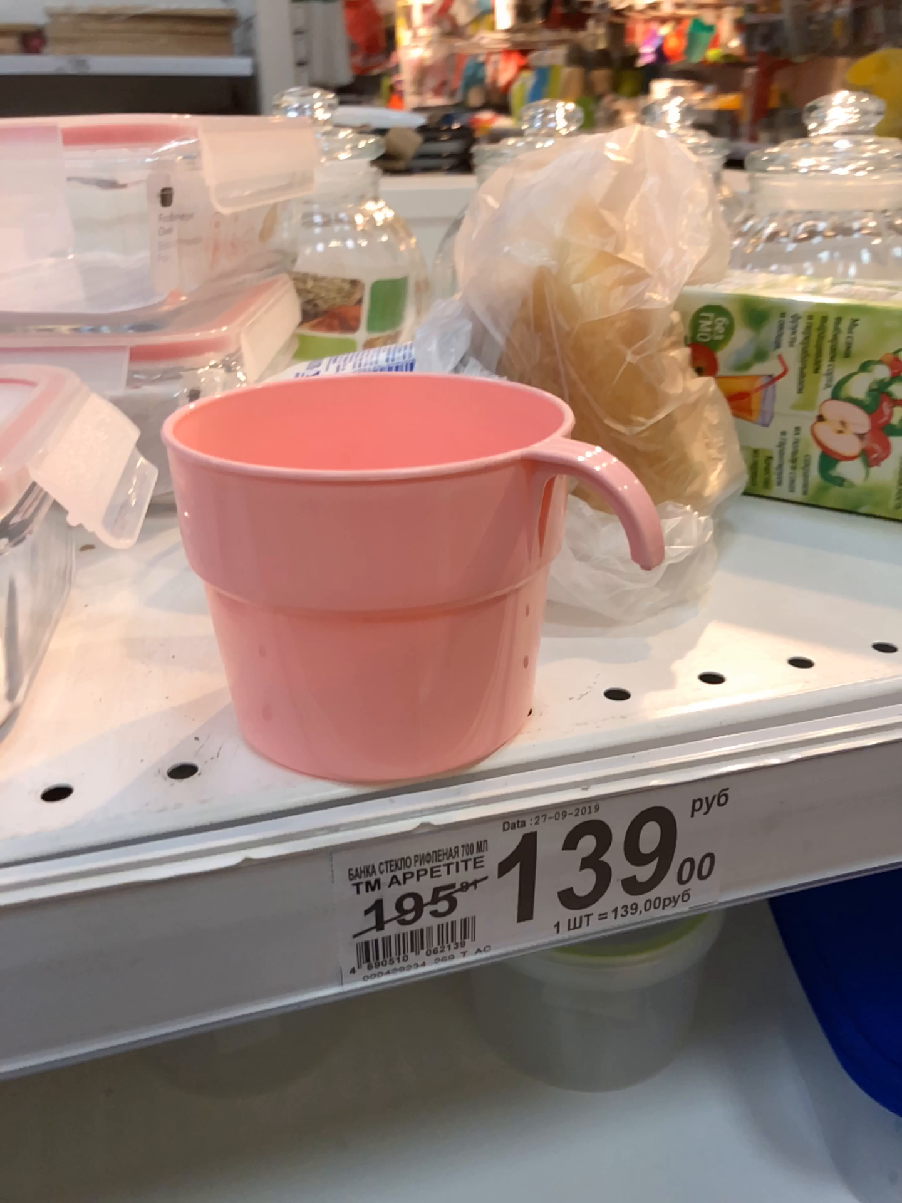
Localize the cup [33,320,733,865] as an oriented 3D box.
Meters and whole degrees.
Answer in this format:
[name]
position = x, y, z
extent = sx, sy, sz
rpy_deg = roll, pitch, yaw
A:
[cup]
position = -0.010, -0.013, 0.209
extent = 0.110, 0.070, 0.081
rpy_deg = 12, 27, 24
